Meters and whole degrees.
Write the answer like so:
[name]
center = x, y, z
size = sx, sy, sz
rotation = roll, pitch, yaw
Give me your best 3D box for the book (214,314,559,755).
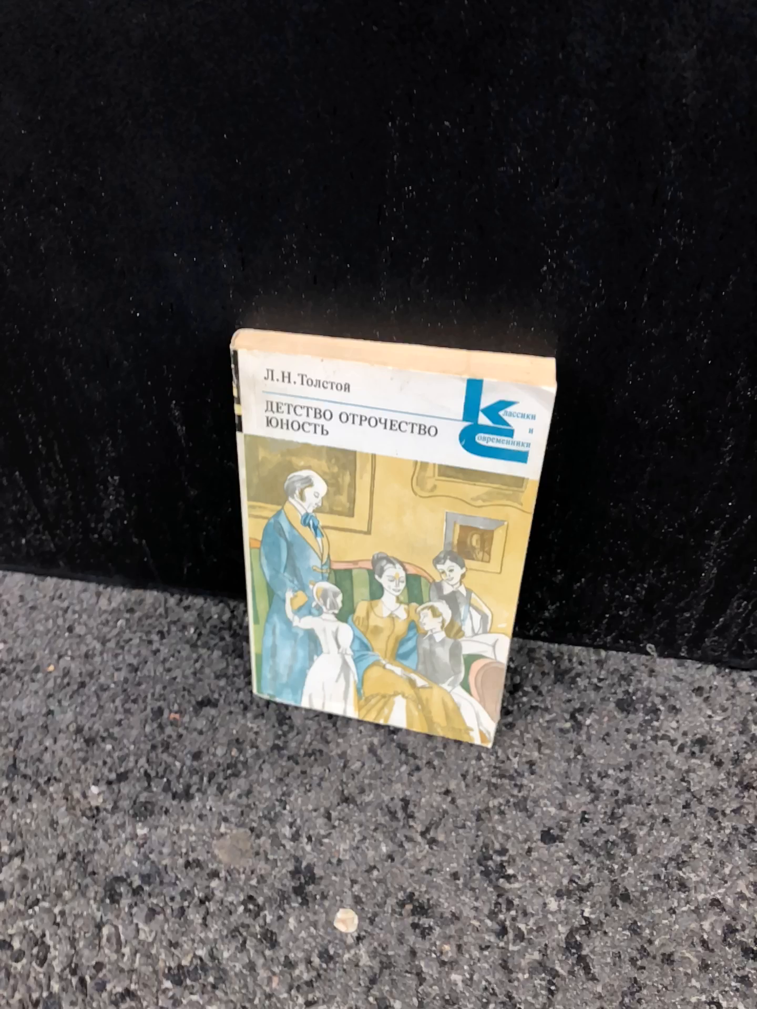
[book]
center = -0.001, 0.021, 0.352
size = 0.120, 0.184, 0.030
rotation = 9, 35, 9
